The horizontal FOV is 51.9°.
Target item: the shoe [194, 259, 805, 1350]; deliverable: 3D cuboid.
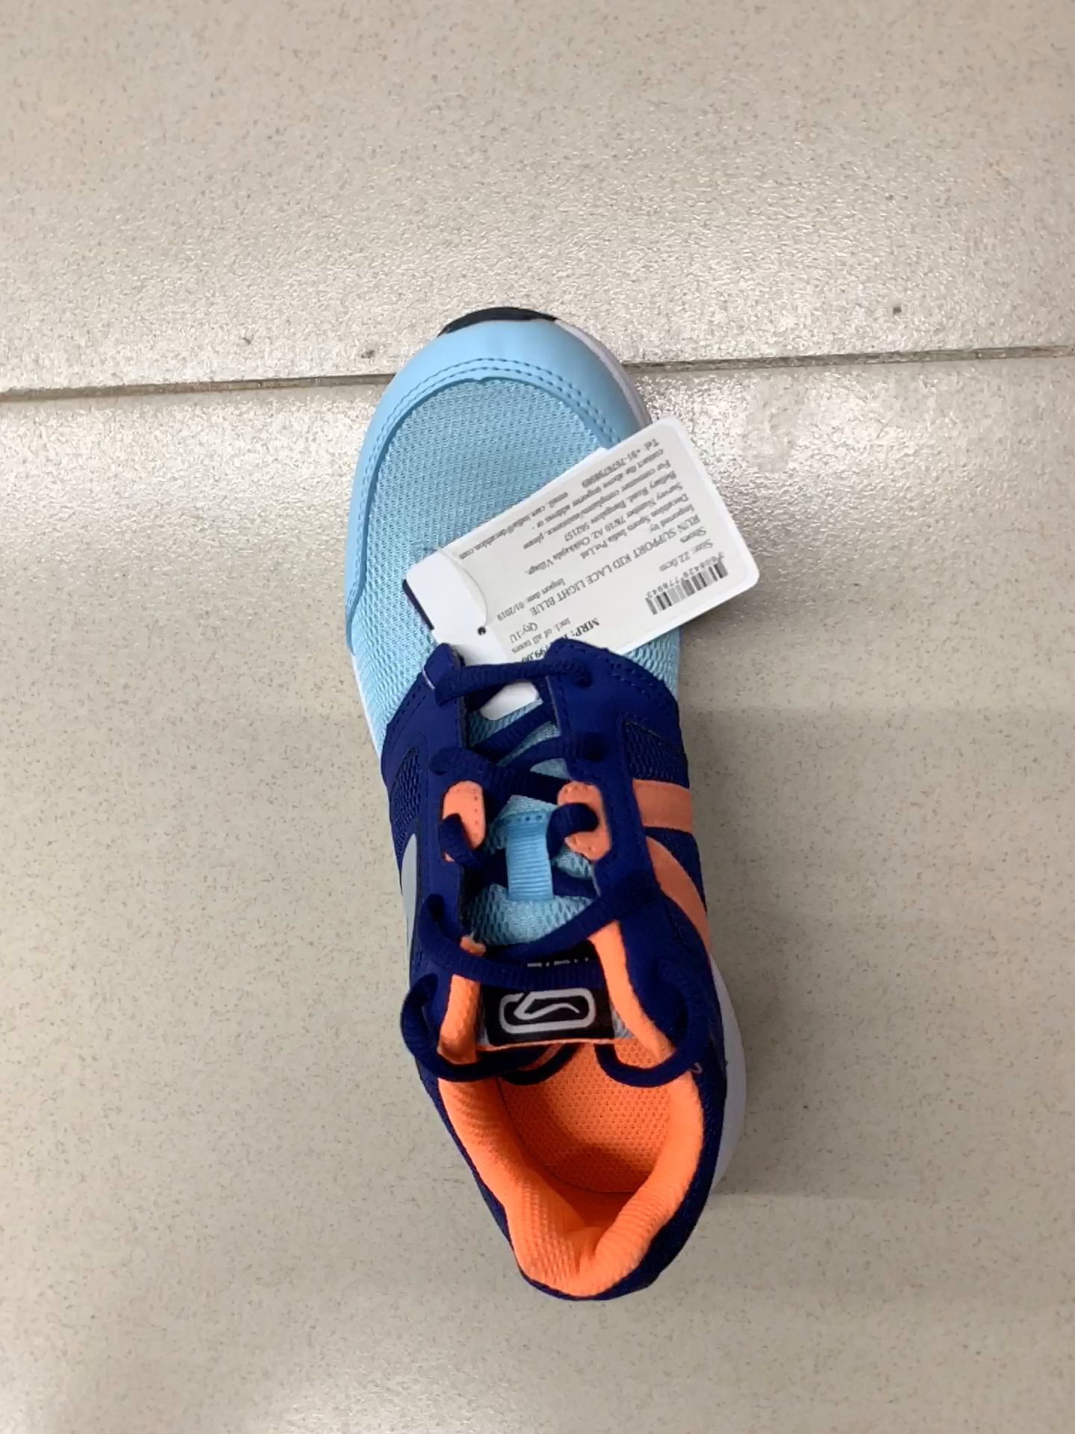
[{"bbox_3d":[-0.001,0.025,0.289,0.100,0.080,0.240,-9,97,9],"label":"shoe"}]
